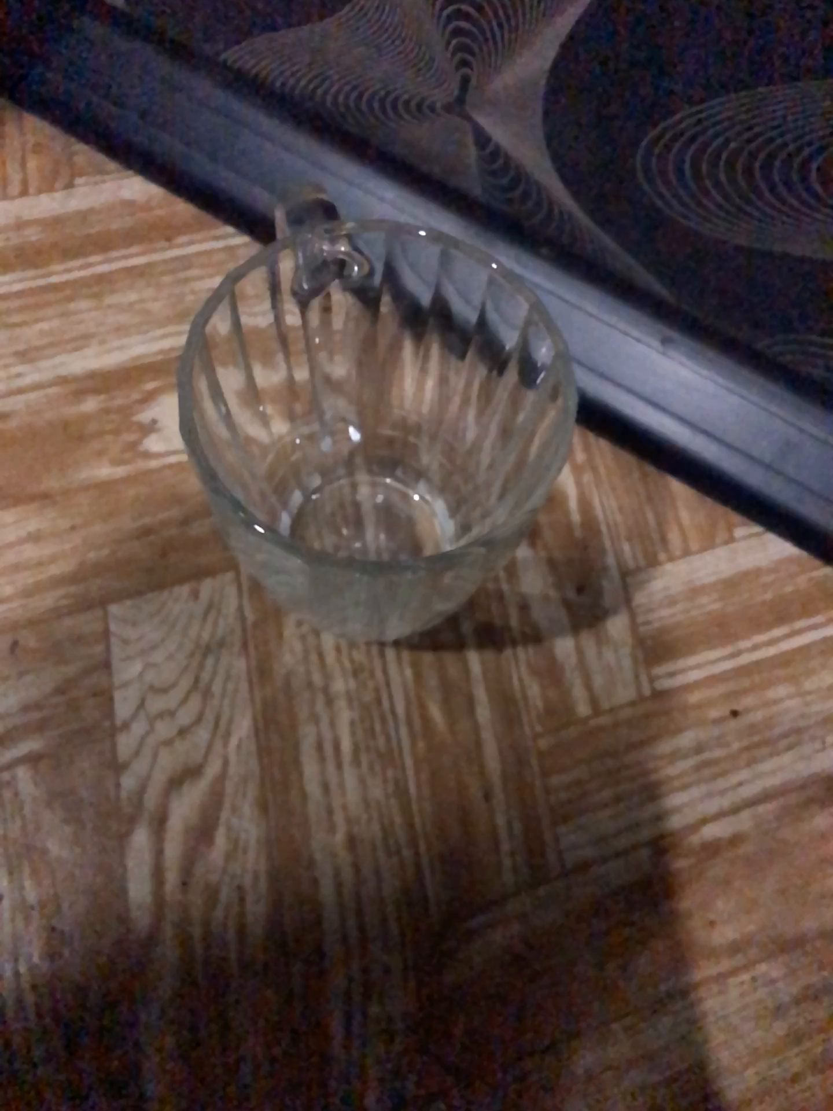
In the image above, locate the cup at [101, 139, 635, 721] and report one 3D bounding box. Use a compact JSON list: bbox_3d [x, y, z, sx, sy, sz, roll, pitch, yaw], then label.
[{"bbox_3d":[-0.020,-0.031,0.280,0.113,0.107,0.126,-8,70,-8],"label":"cup"}]
